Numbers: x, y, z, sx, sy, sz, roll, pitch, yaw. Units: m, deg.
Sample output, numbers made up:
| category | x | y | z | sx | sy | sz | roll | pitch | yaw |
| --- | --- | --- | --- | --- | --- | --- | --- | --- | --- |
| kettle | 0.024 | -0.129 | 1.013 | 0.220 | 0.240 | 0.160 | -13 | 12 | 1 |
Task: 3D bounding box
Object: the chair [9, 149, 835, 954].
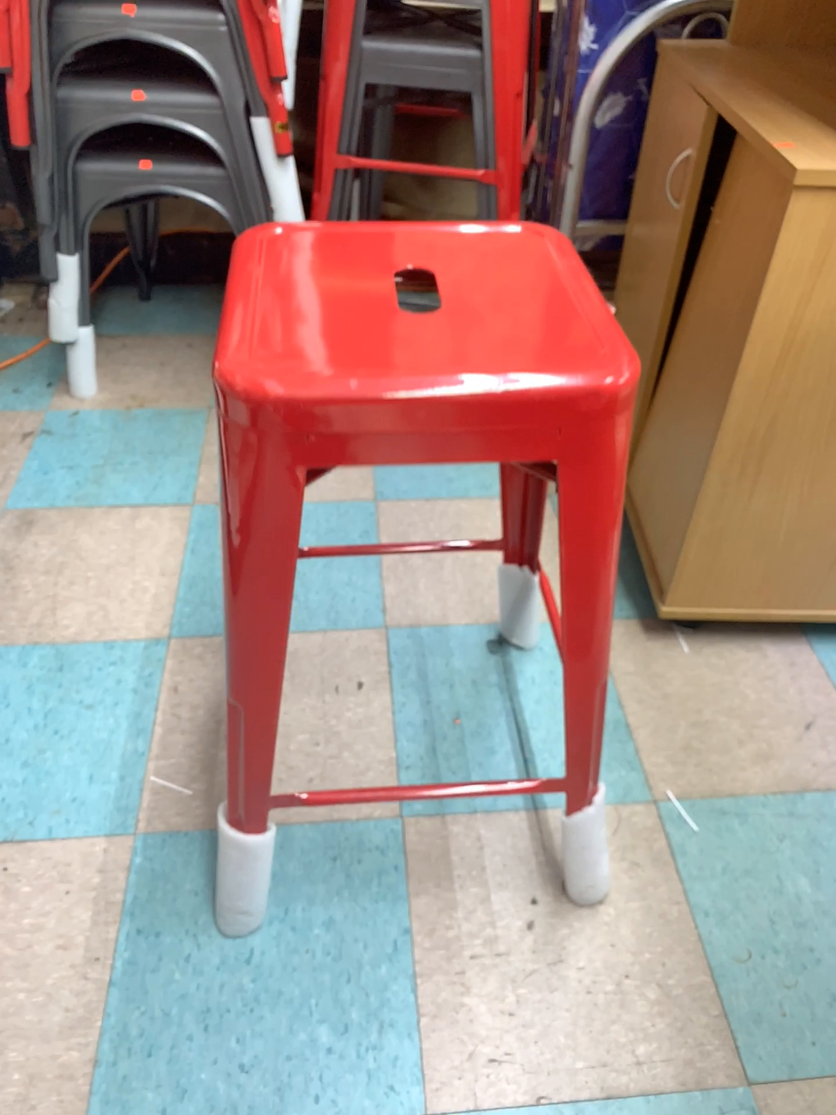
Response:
| category | x | y | z | sx | sy | sz | roll | pitch | yaw |
| --- | --- | --- | --- | --- | --- | --- | --- | --- | --- |
| chair | -0.011 | 0.002 | 0.805 | 0.438 | 0.597 | 0.437 | -2 | 42 | -5 |
